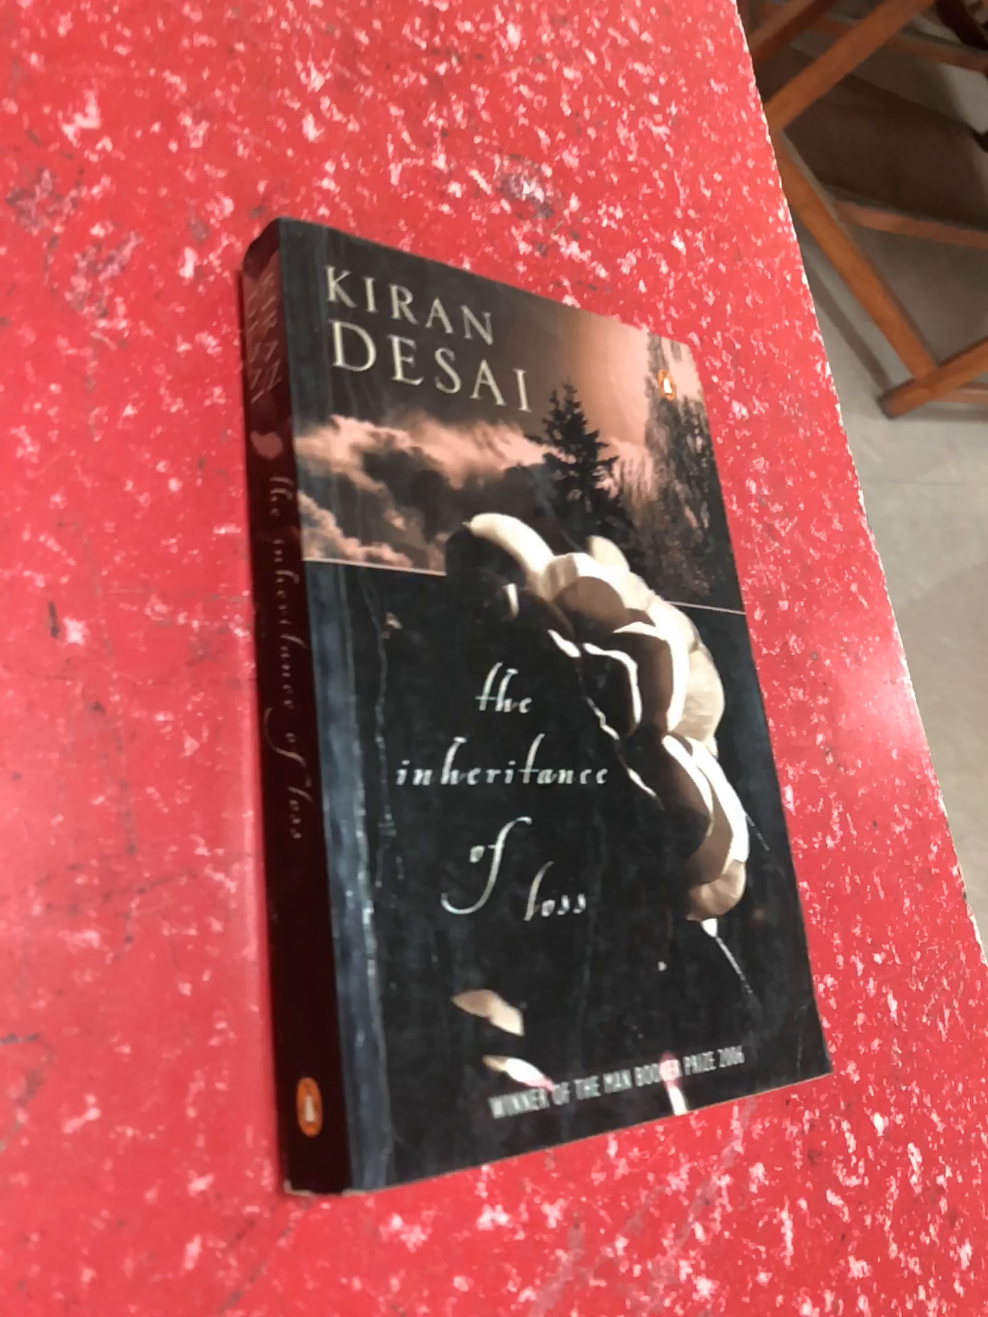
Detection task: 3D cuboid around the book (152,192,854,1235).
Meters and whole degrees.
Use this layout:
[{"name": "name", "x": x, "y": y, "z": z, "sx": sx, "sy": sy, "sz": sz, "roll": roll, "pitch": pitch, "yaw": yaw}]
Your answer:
[{"name": "book", "x": -0.001, "y": 0.010, "z": 0.256, "sx": 0.131, "sy": 0.060, "sz": 0.190, "roll": 4, "pitch": 71, "yaw": -36}]
